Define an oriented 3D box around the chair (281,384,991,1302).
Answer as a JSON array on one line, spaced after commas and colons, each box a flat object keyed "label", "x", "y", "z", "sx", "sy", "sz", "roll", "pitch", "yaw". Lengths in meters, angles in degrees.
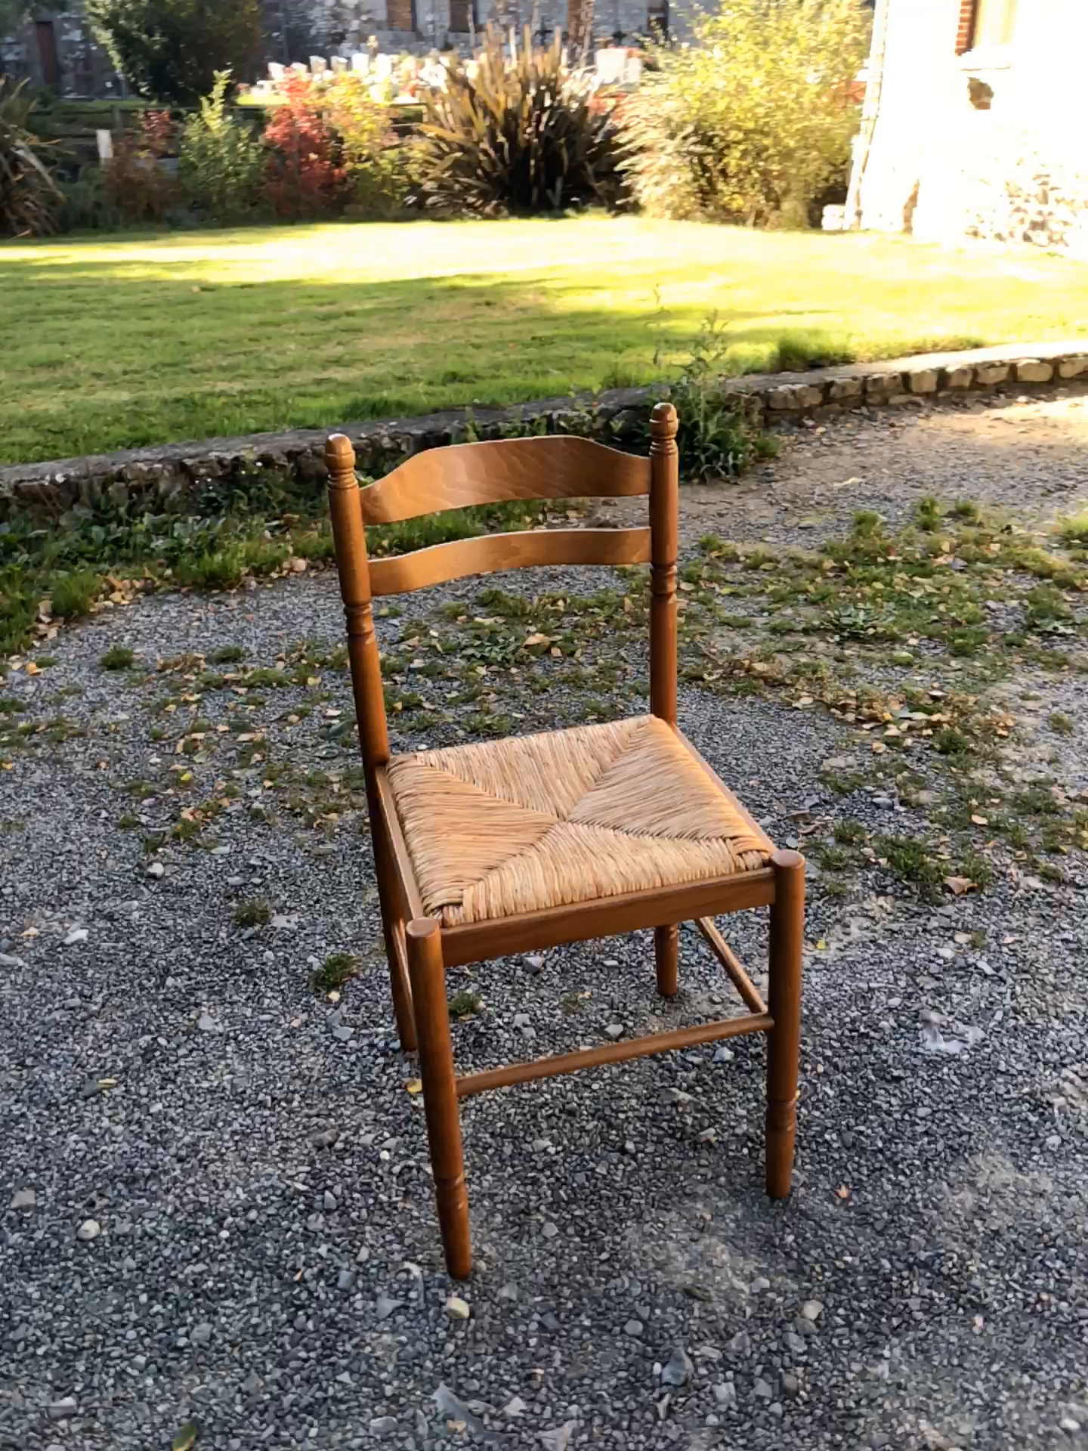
[{"label": "chair", "x": 0.039, "y": 0.080, "z": 1.267, "sx": 0.511, "sy": 0.736, "sz": 0.523, "roll": -8, "pitch": 28, "yaw": -14}]
